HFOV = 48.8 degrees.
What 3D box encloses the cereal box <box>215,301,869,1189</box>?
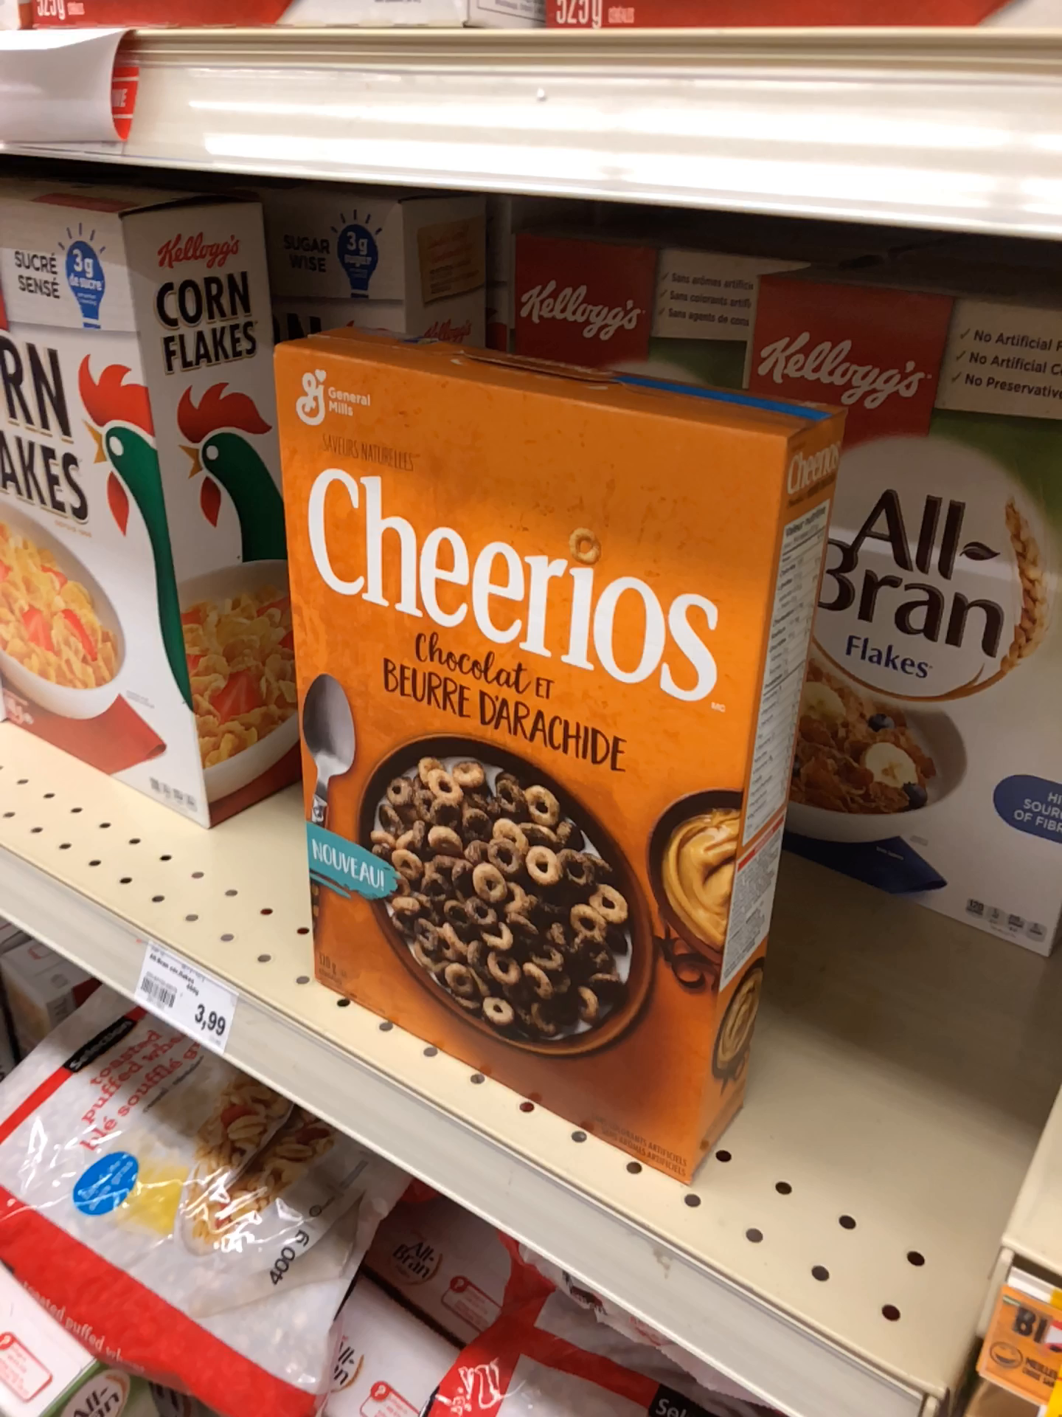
[{"bbox_3d":[-0.009,0.009,0.419,0.211,0.268,0.050,20,33,31],"label":"cereal box"}]
